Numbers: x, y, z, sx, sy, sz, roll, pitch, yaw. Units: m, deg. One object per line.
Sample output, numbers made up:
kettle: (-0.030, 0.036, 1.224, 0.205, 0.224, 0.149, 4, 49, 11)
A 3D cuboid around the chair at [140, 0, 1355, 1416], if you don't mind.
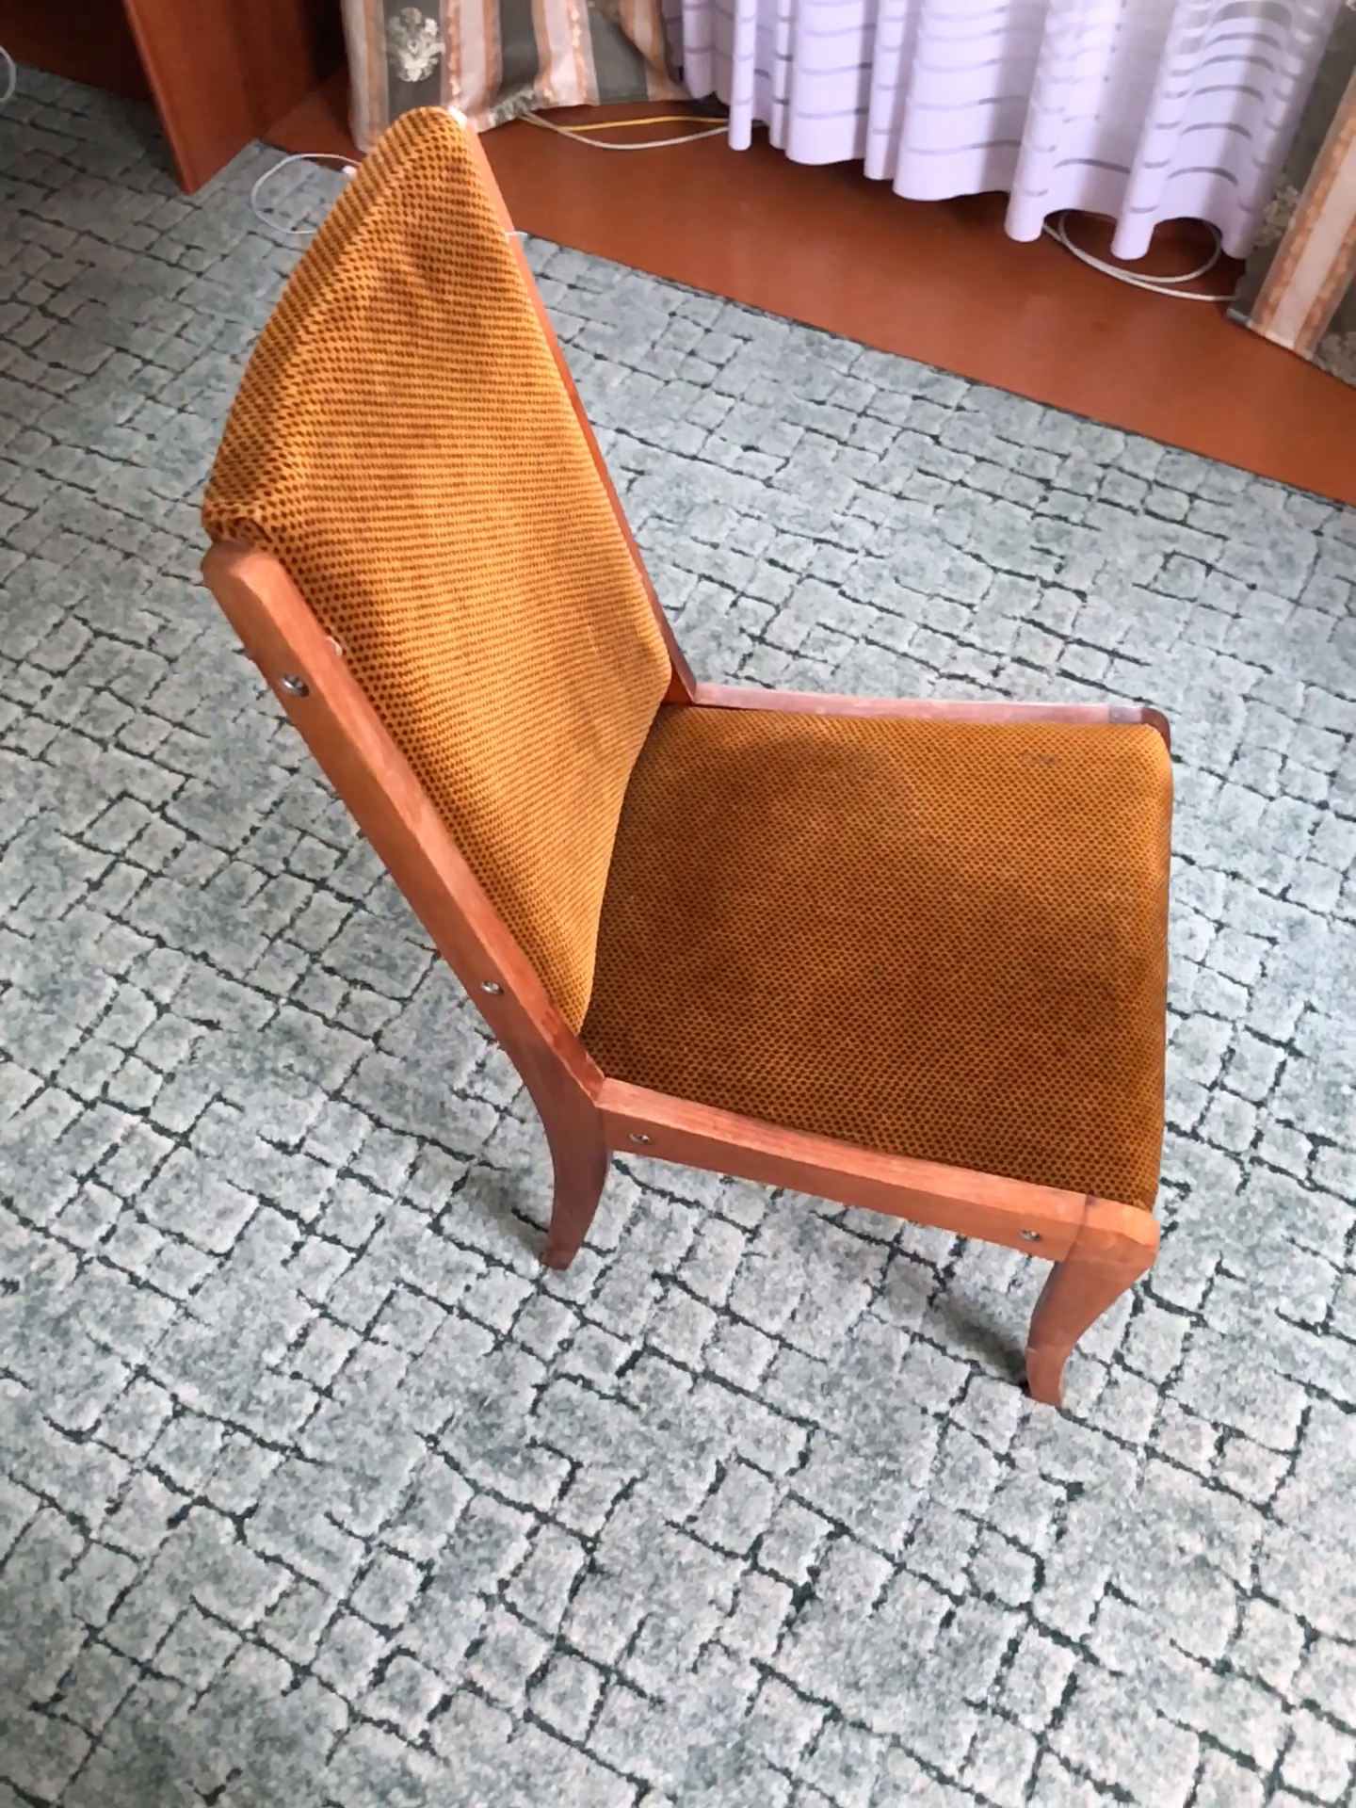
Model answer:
chair: (0.111, -0.036, 1.037, 0.528, 0.925, 0.473, 8, 59, 6)
